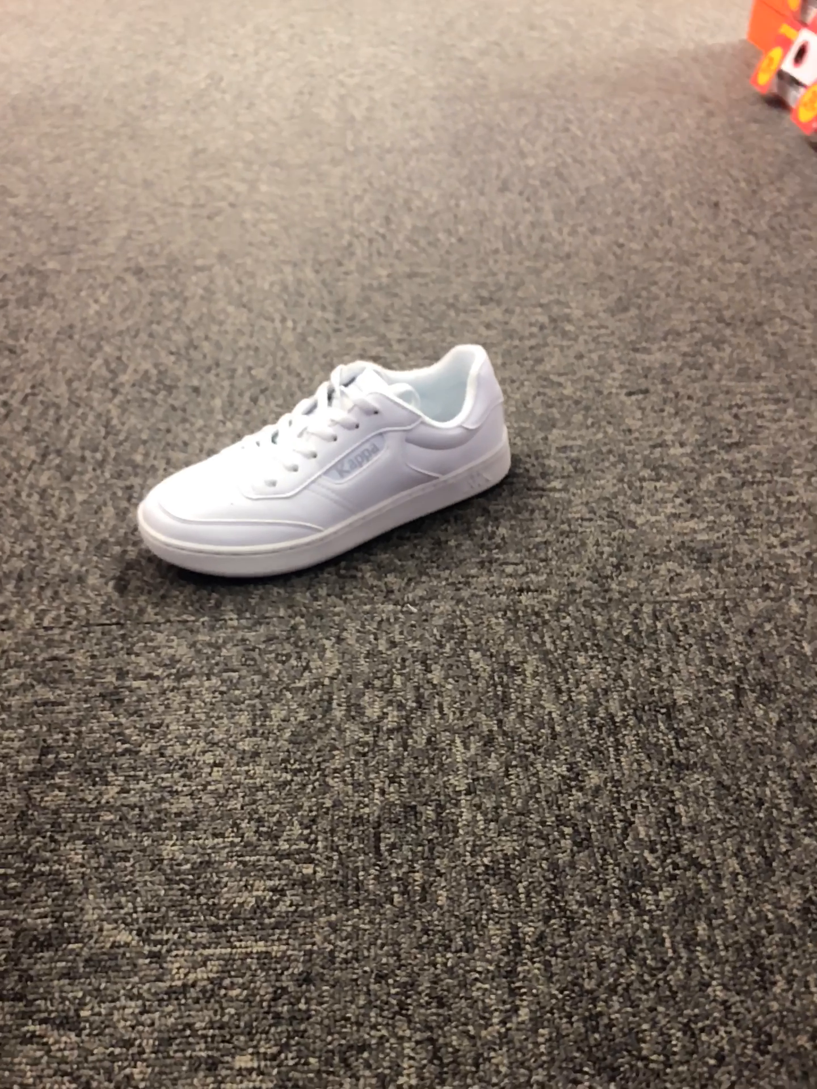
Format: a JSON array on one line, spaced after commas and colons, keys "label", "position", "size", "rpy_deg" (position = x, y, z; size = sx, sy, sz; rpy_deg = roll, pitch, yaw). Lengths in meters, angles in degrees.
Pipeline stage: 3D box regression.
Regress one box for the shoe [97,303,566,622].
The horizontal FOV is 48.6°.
[{"label": "shoe", "position": [-0.043, -0.059, 0.566], "size": [0.261, 0.089, 0.100], "rpy_deg": [-19, 44, -17]}]
